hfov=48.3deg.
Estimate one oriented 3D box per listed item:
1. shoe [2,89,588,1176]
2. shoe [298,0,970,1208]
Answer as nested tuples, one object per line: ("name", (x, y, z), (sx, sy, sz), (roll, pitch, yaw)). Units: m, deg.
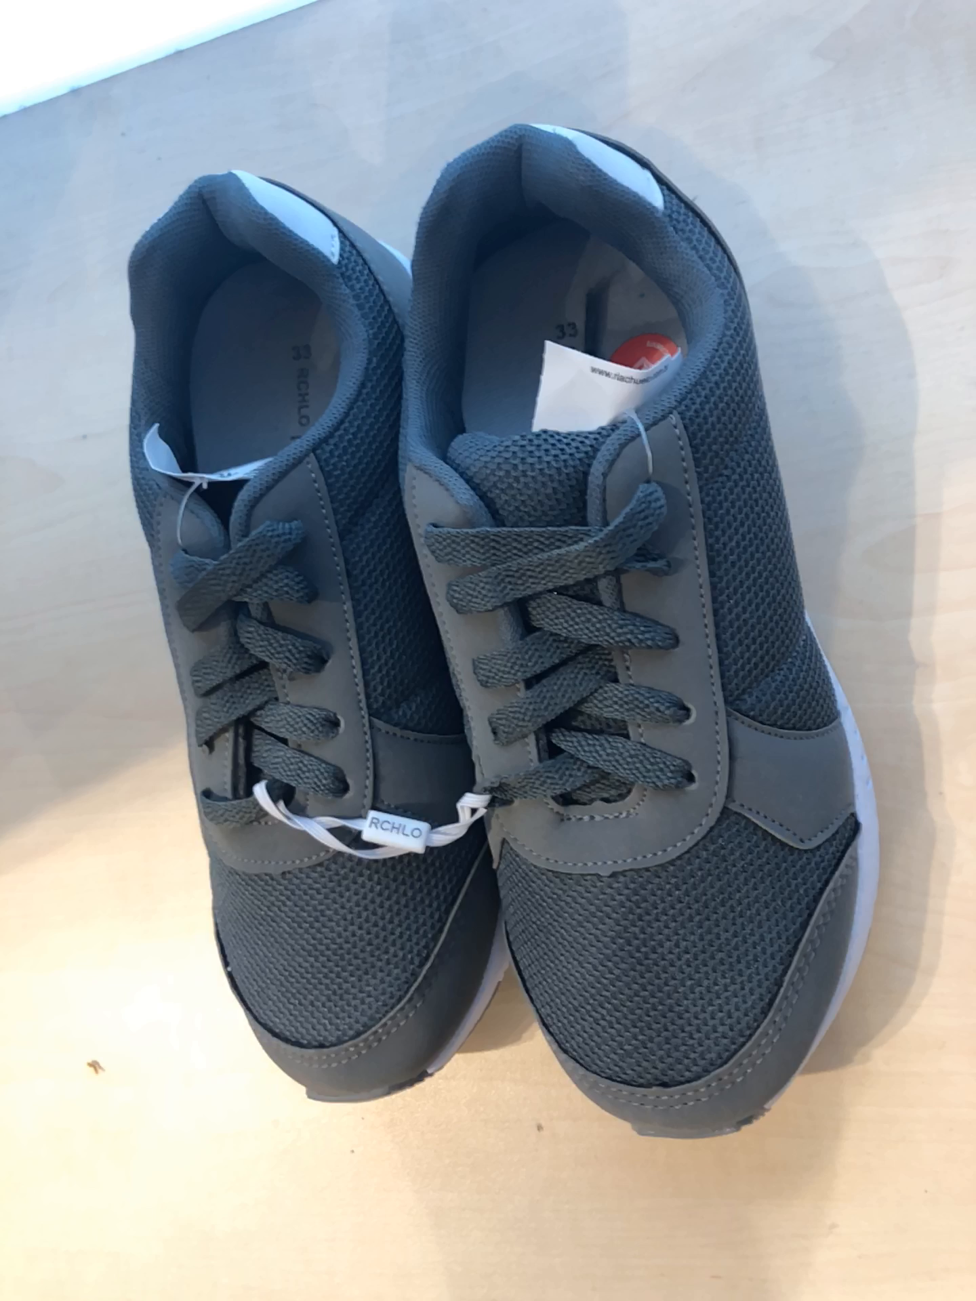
("shoe", (-0.048, 0.000, 0.288), (0.100, 0.100, 0.230), (-9, 80, 18))
("shoe", (0.035, -0.010, 0.268), (0.100, 0.100, 0.240), (-11, 80, 18))
